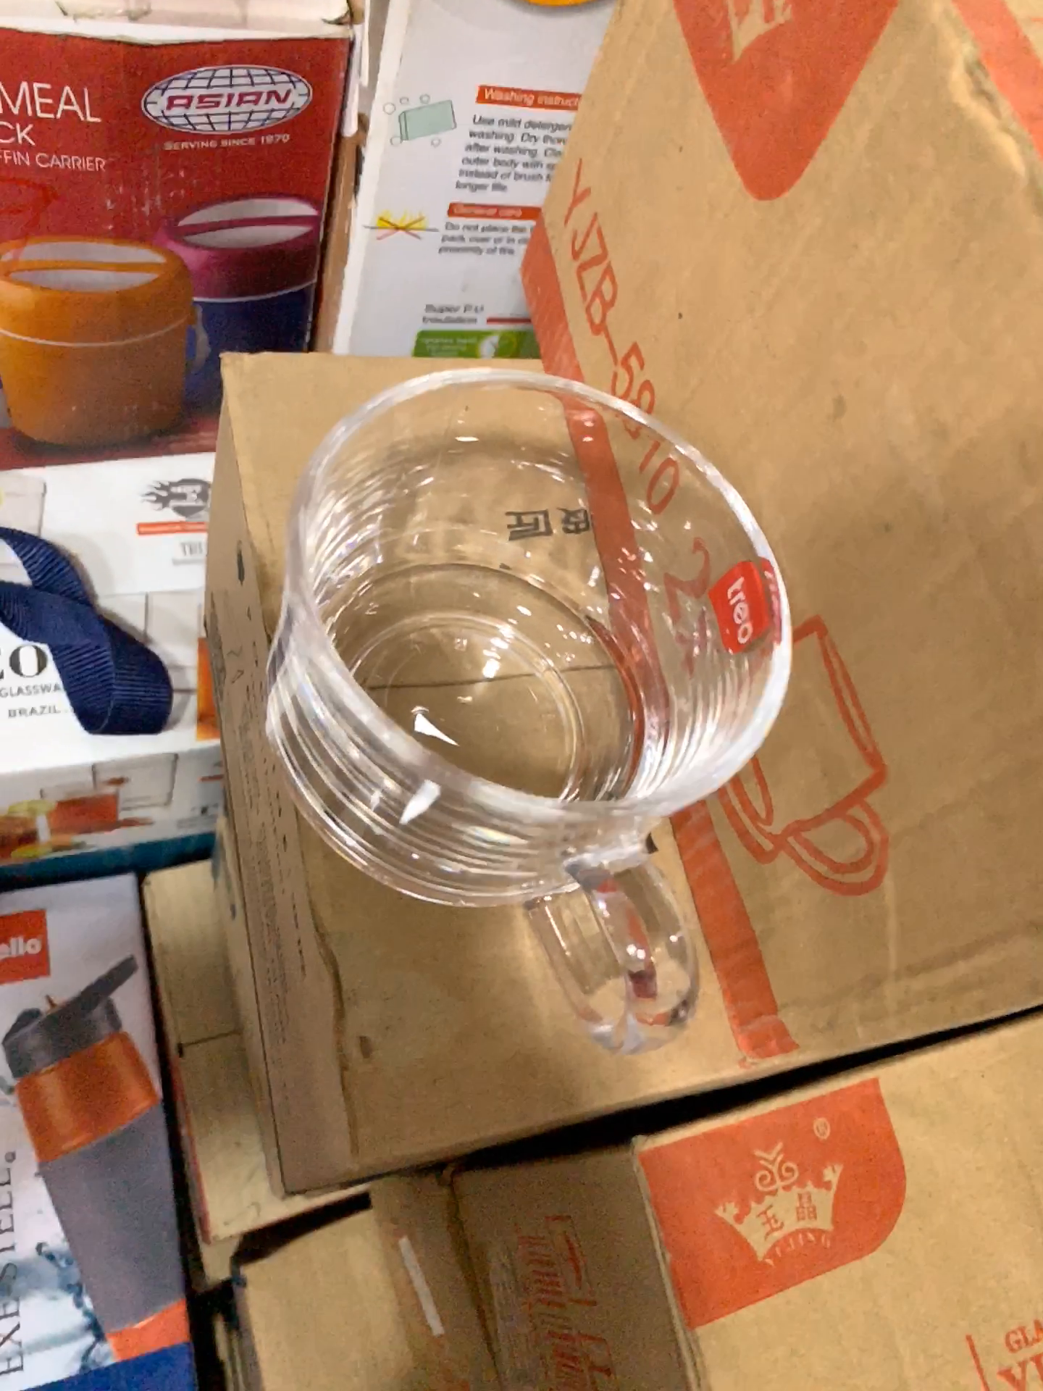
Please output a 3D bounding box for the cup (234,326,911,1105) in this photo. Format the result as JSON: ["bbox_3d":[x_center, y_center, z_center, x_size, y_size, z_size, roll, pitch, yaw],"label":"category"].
[{"bbox_3d":[-0.002,0.001,0.178,0.072,0.061,0.105,-7,67,-20],"label":"cup"}]
